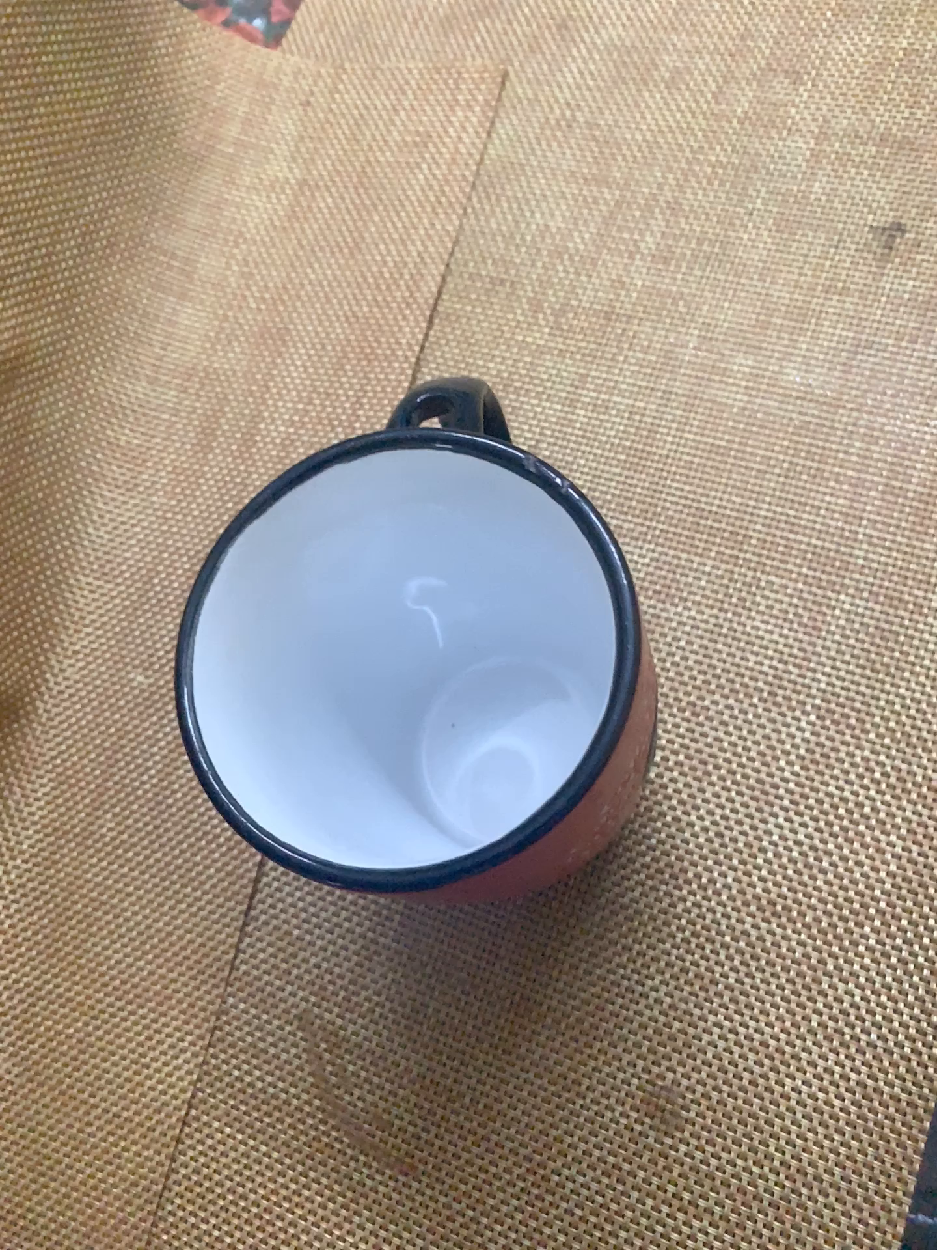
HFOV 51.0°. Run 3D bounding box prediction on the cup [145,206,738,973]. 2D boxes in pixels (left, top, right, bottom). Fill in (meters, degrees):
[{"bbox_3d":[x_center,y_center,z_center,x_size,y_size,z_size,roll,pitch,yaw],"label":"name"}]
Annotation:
[{"bbox_3d":[-0.001,0.004,0.210,0.090,0.100,0.120,-10,70,11],"label":"cup"}]
